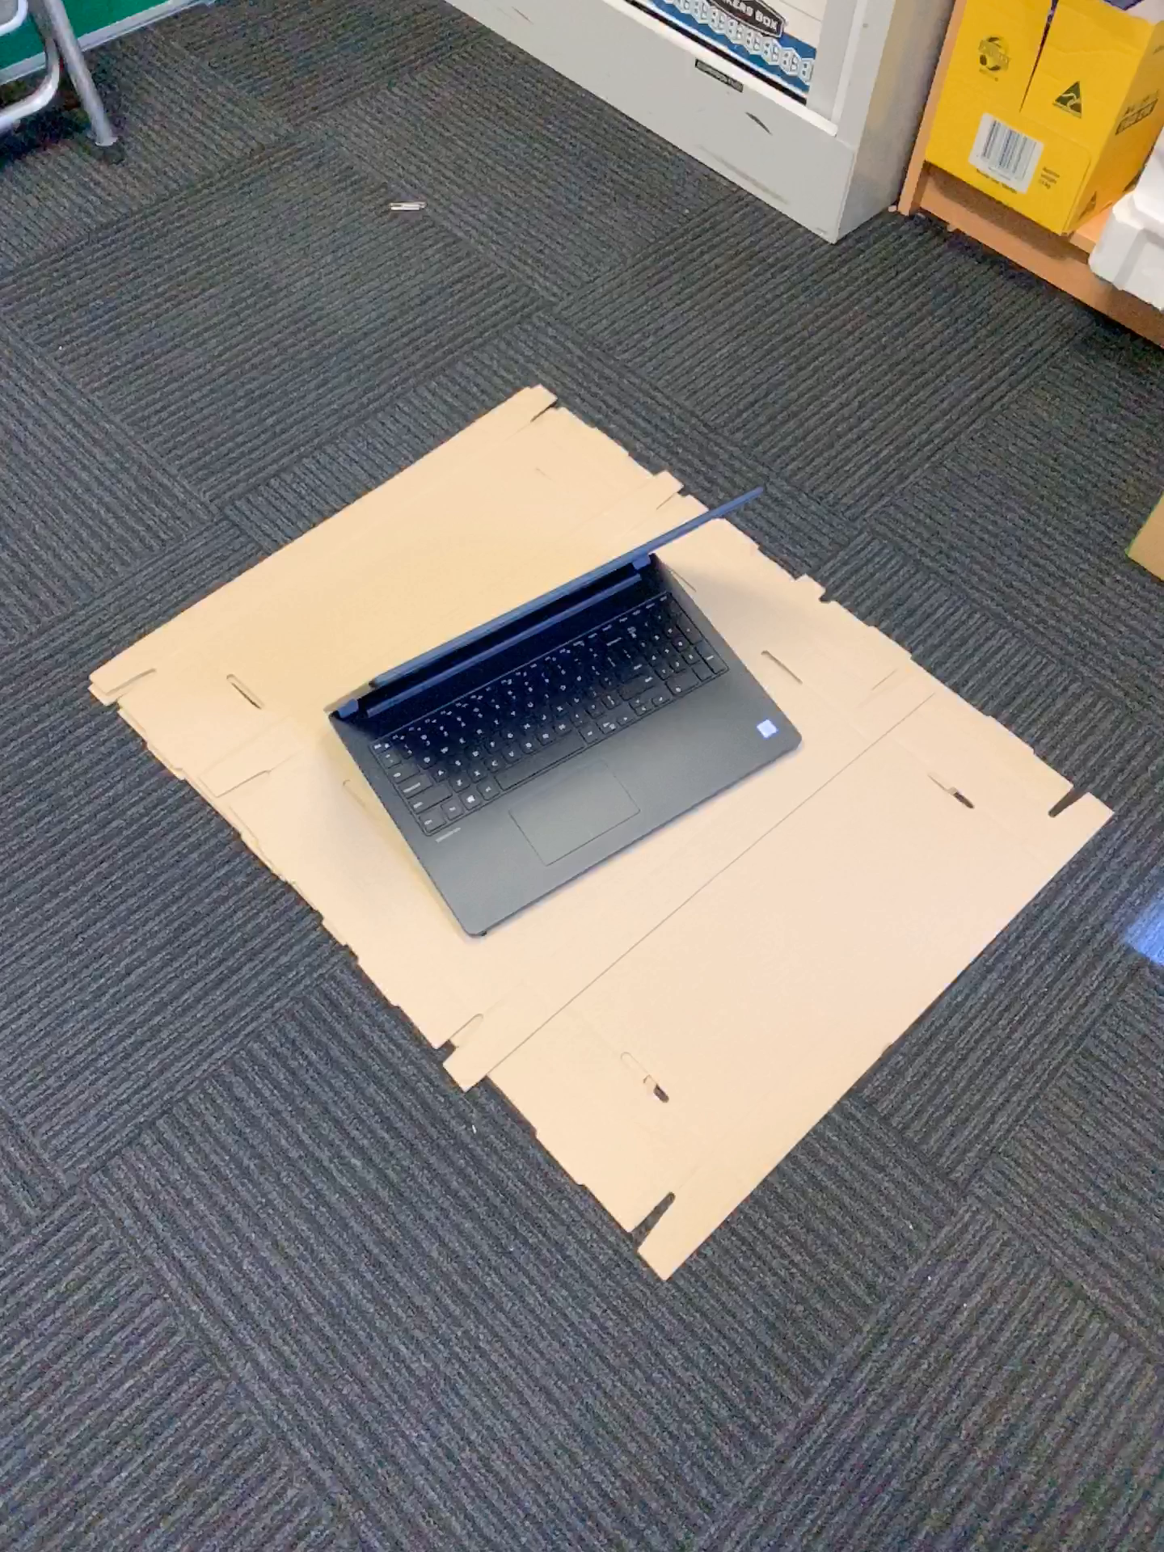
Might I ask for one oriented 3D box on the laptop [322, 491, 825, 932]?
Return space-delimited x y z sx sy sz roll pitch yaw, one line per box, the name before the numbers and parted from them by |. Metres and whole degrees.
laptop | -0.006 -0.064 0.984 0.341 0.085 0.221 -29 68 -18
